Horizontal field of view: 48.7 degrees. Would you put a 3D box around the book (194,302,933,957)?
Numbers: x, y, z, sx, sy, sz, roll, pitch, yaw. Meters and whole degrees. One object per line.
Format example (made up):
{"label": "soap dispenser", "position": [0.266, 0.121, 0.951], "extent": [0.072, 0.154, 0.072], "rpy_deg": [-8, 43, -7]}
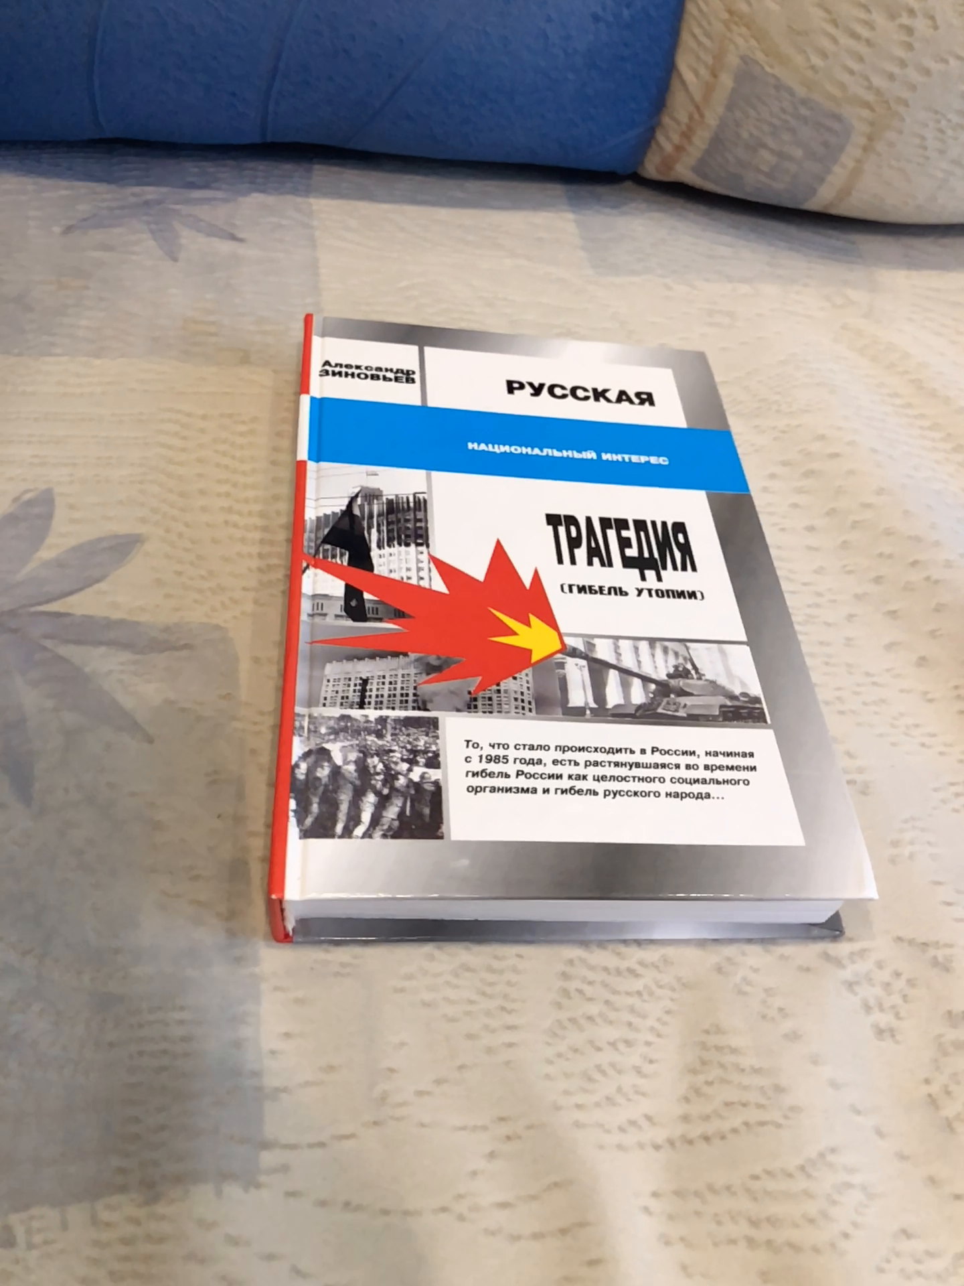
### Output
{"label": "book", "position": [0.013, -0.016, 0.305], "extent": [0.160, 0.040, 0.201], "rpy_deg": [2, 51, -7]}
